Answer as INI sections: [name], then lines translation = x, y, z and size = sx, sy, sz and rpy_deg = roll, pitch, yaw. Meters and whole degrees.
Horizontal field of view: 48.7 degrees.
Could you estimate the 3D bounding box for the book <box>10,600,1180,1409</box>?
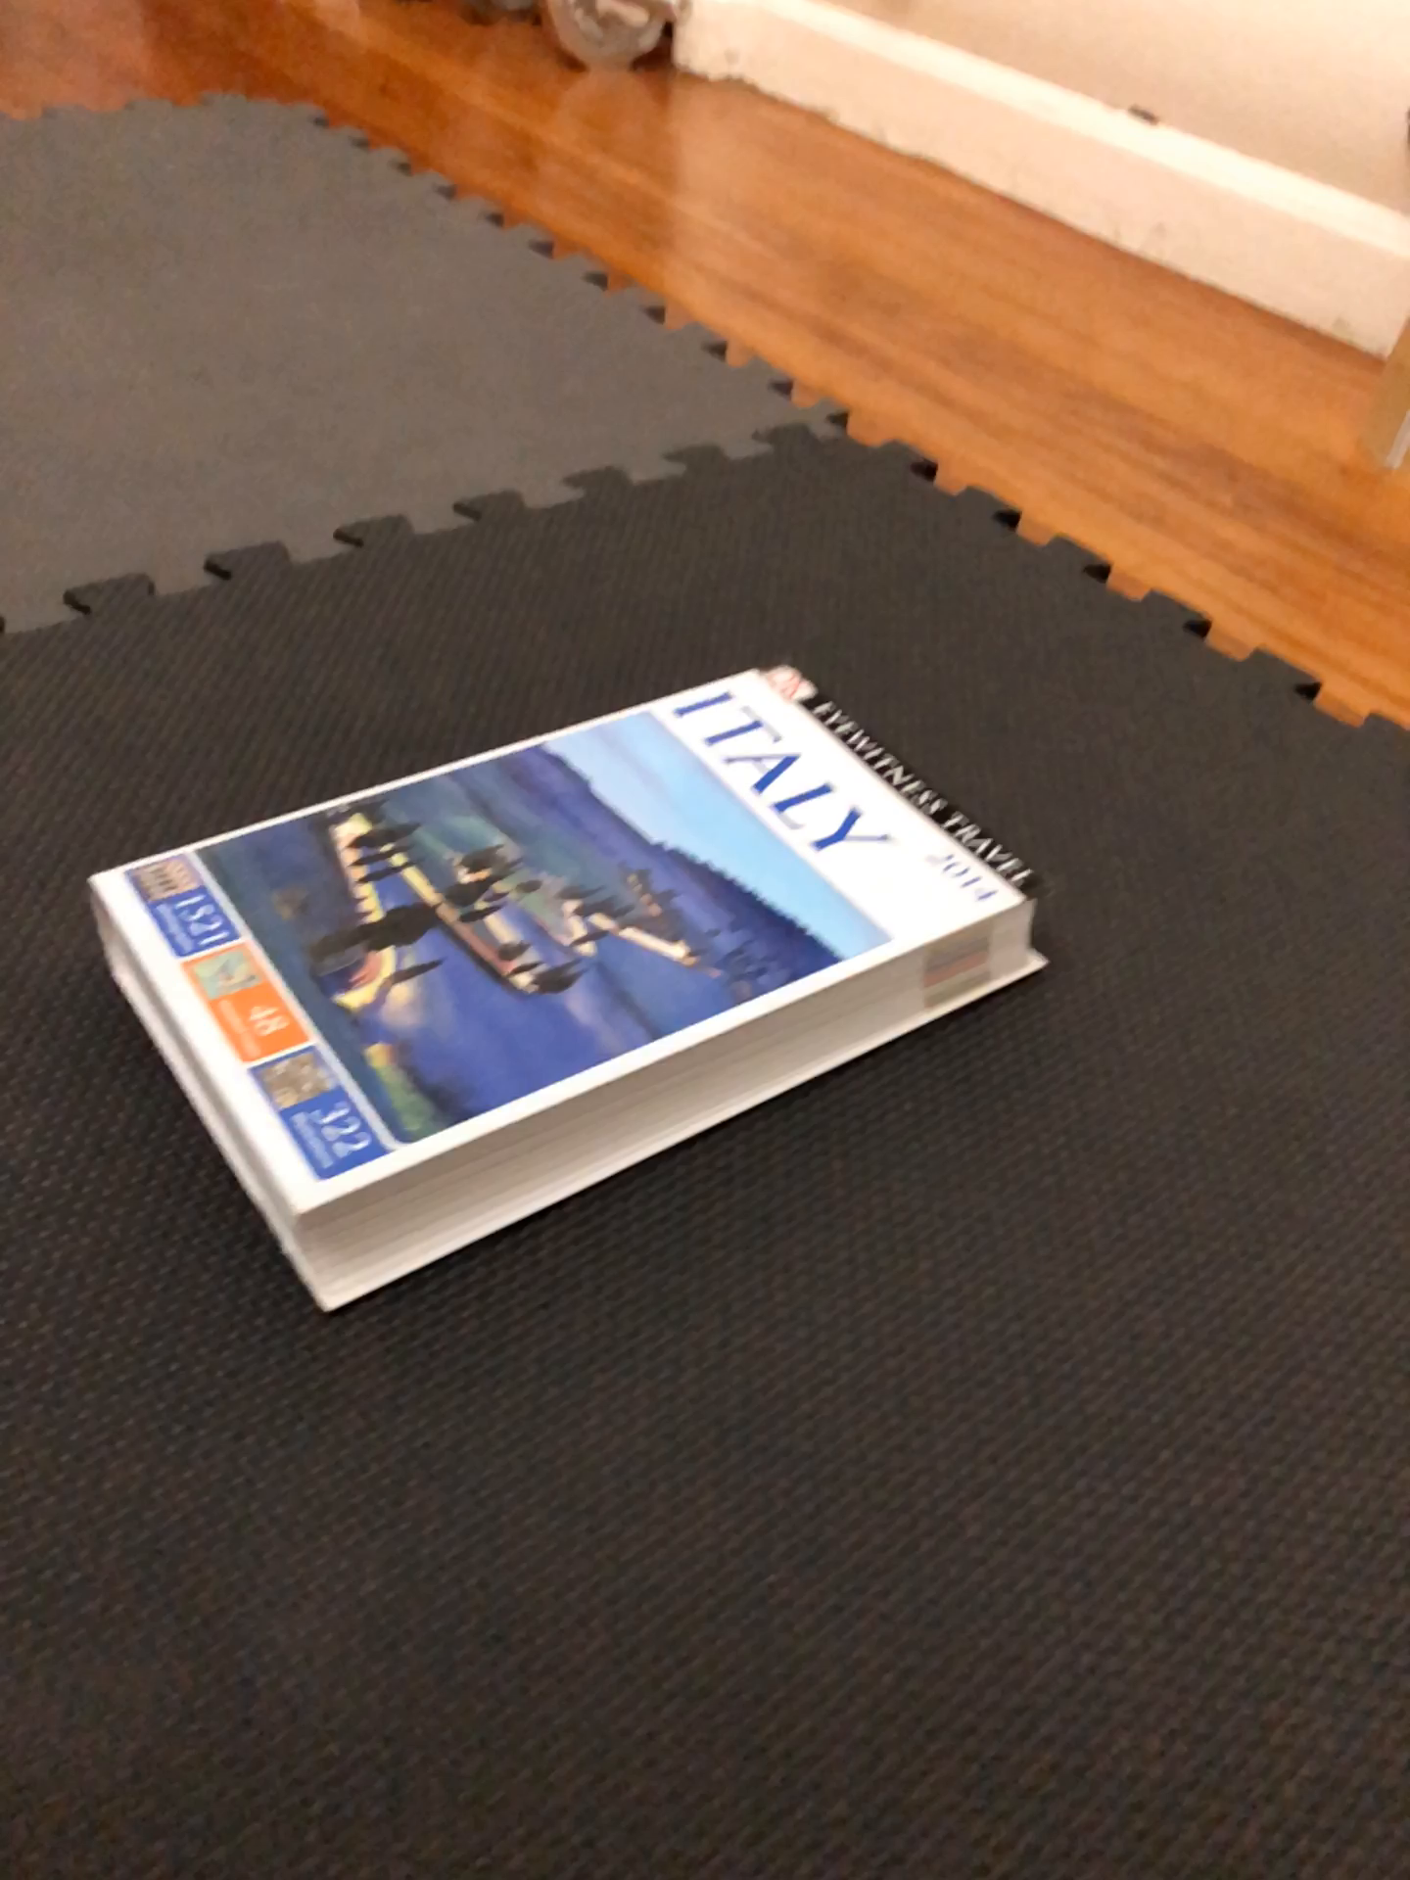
[book]
translation = -0.024, -0.008, 0.408
size = 0.251, 0.040, 0.161
rpy_deg = -22, 48, -30
